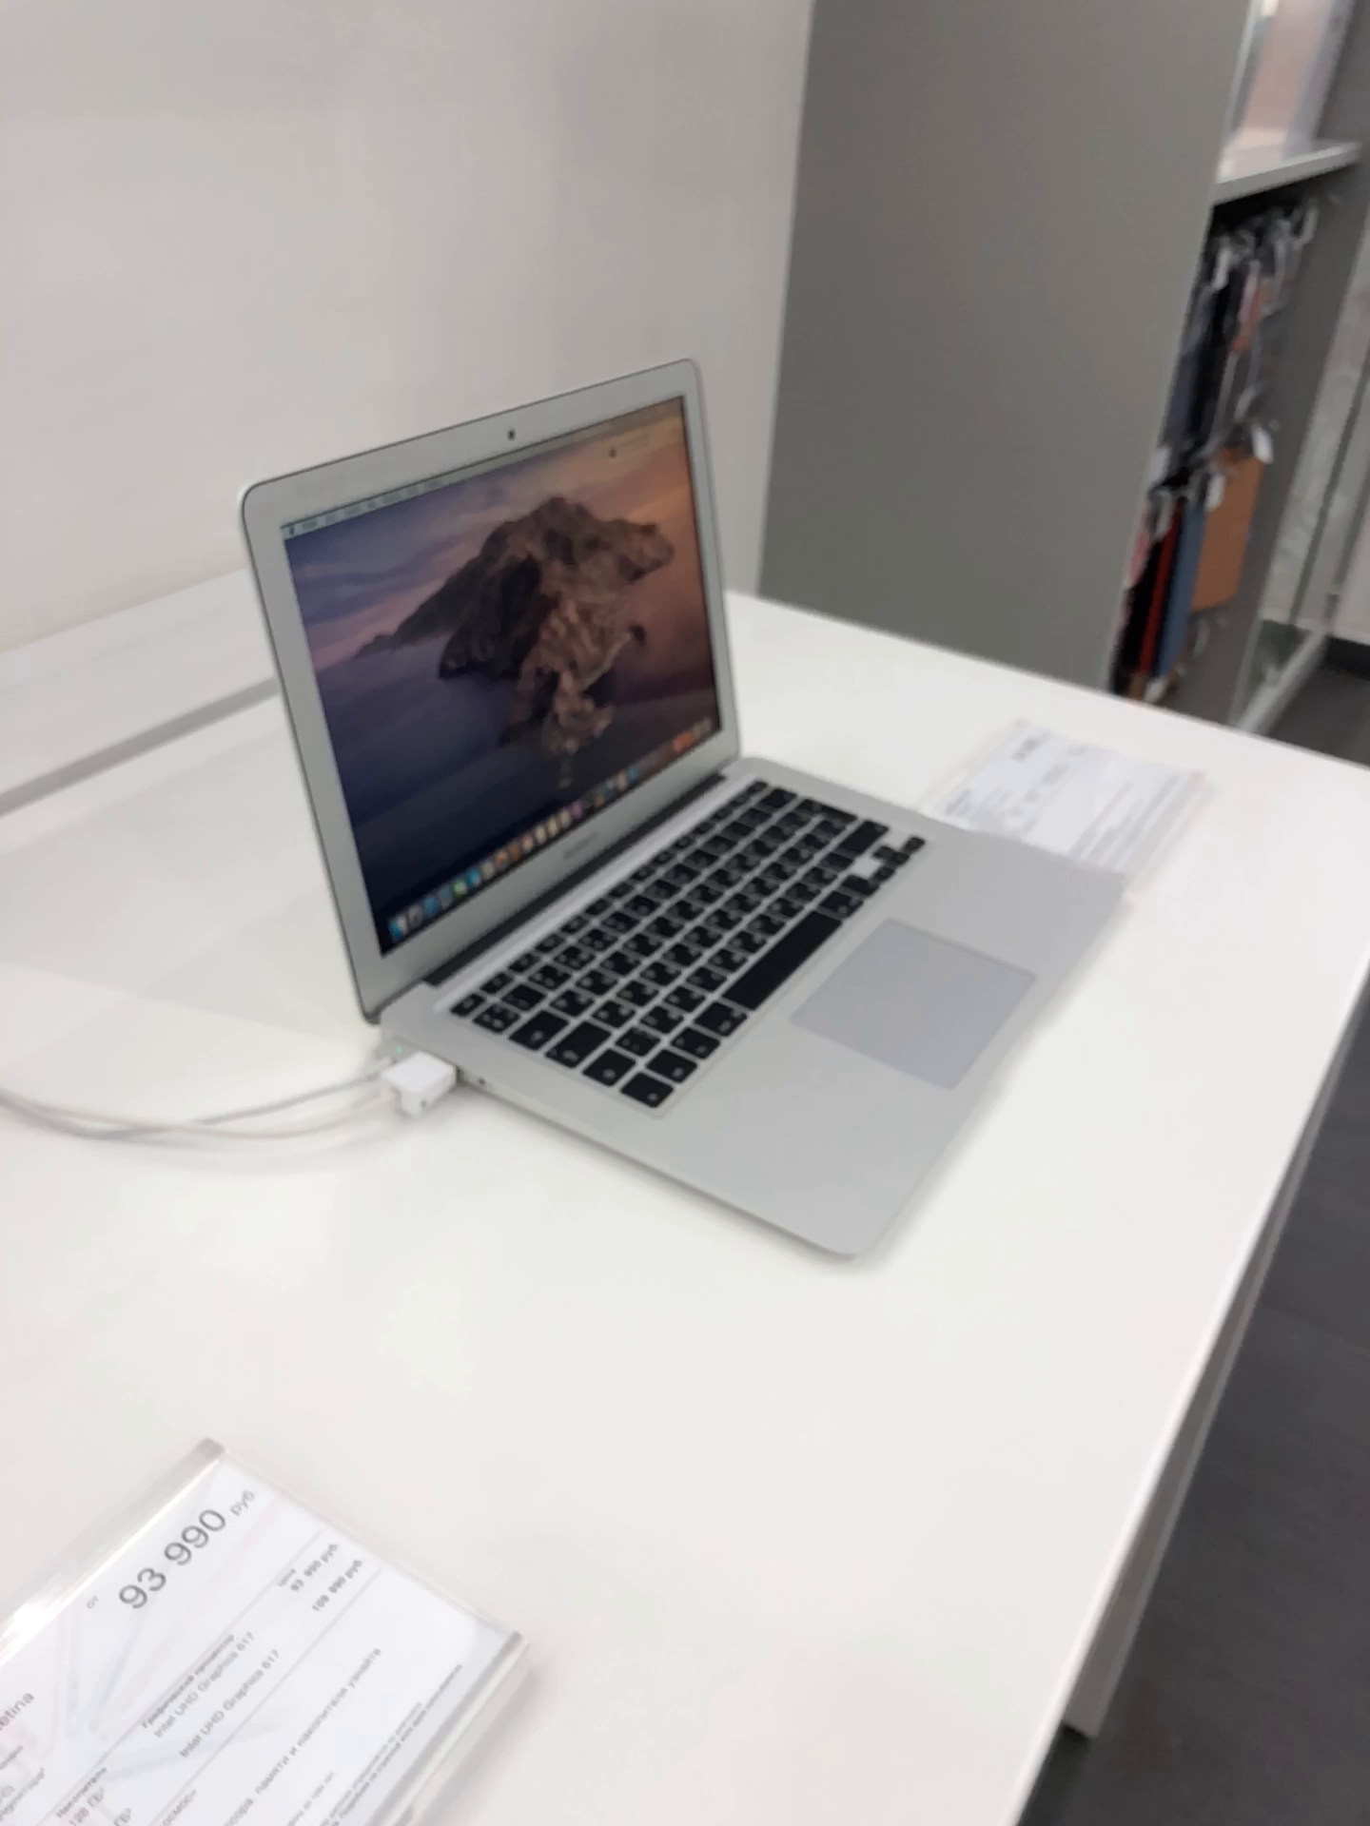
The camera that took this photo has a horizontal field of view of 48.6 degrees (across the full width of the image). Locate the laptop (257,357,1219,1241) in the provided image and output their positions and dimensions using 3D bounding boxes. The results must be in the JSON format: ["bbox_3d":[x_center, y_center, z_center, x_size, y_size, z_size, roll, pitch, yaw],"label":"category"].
[{"bbox_3d":[0.034,-0.084,0.661,0.270,0.207,0.316,21,35,23],"label":"laptop"}]
